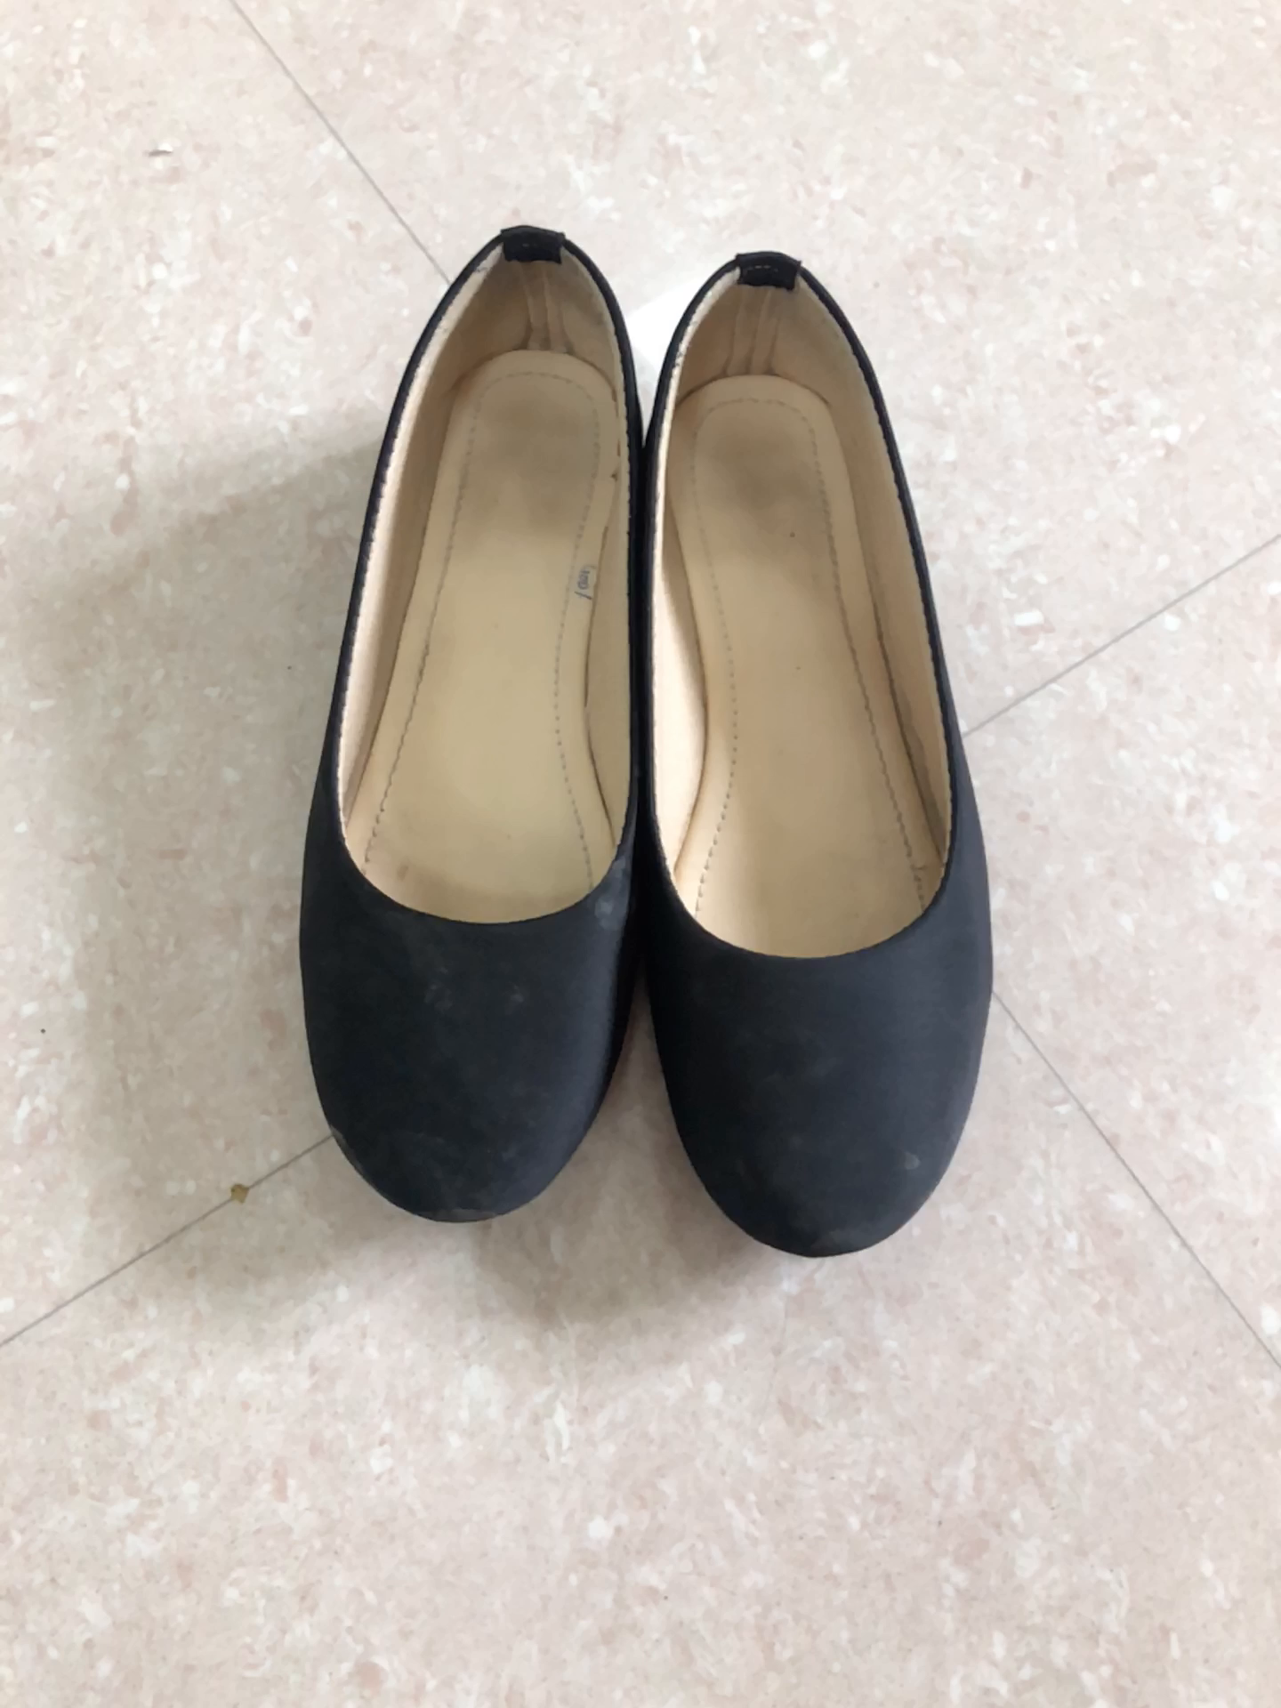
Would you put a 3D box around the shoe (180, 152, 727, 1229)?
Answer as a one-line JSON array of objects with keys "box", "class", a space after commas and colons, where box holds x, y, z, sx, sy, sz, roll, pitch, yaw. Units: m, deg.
[{"box": [-0.035, -0.043, 0.347, 0.090, 0.060, 0.250, 5, 74, 2], "class": "shoe"}]

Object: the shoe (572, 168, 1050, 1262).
[{"box": [0.031, -0.035, 0.335, 0.090, 0.060, 0.250, -1, 74, 0], "class": "shoe"}]
